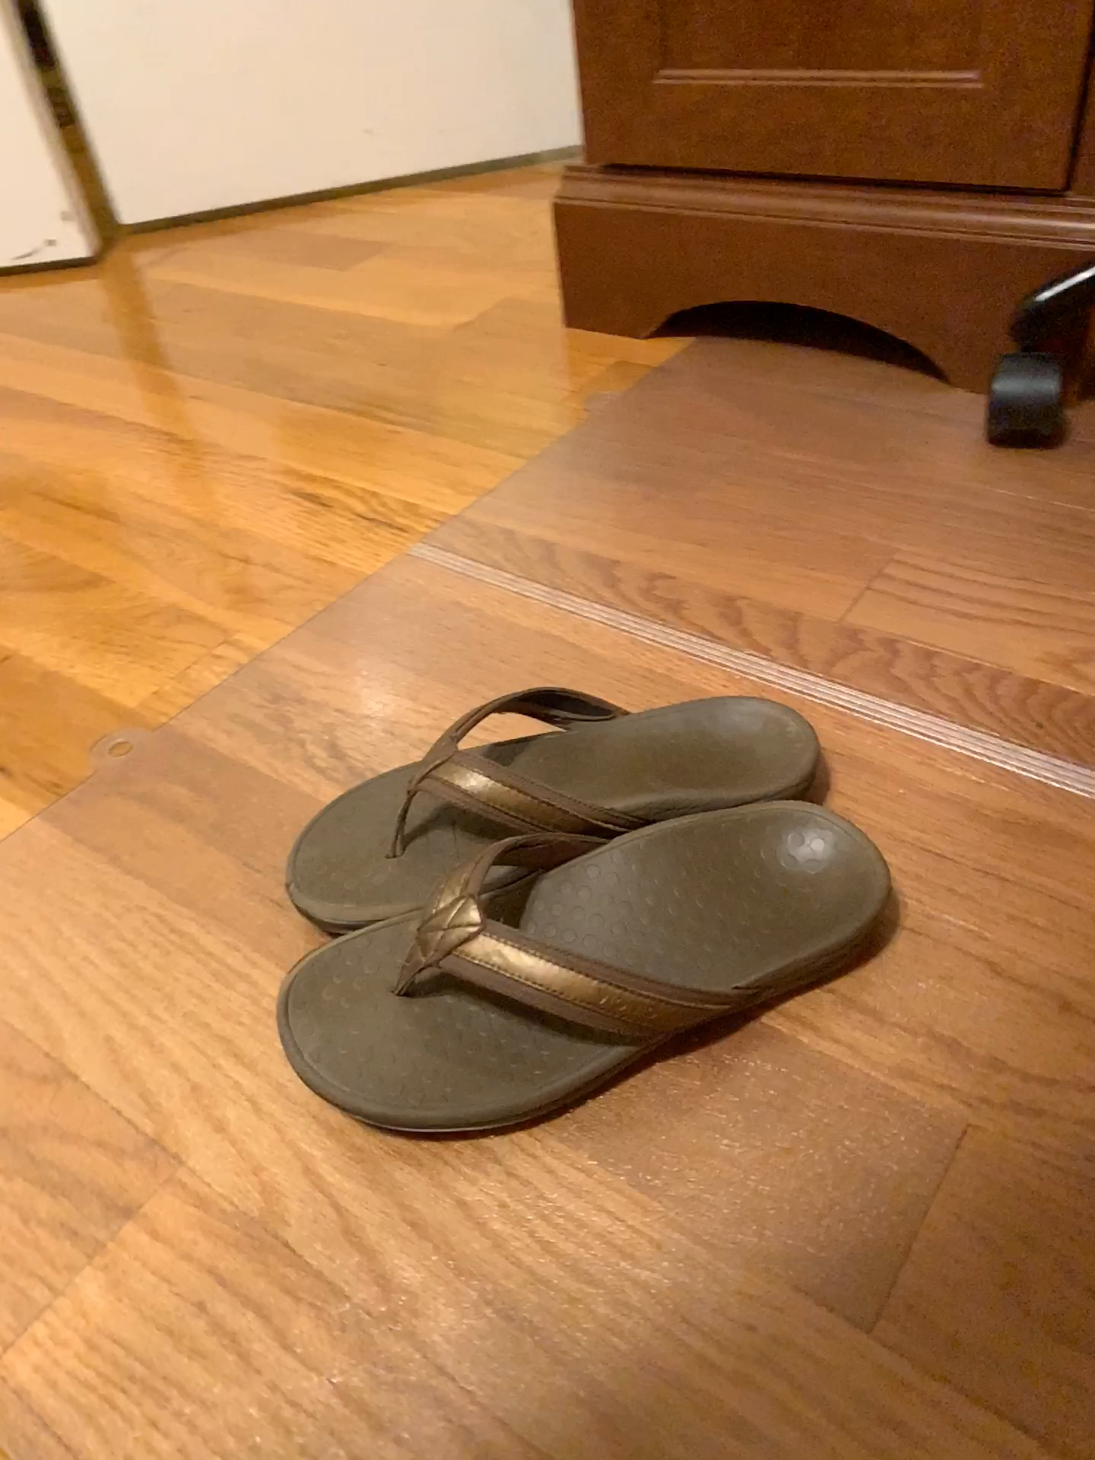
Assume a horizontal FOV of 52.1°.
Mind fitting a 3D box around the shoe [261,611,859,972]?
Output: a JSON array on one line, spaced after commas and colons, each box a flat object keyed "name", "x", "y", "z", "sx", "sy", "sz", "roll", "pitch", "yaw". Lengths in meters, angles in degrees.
[{"name": "shoe", "x": 0.004, "y": 0.022, "z": 0.511, "sx": 0.250, "sy": 0.049, "sz": 0.092, "roll": -16, "pitch": 41, "yaw": -8}]

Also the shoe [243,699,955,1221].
[{"name": "shoe", "x": 0.020, "y": 0.079, "z": 0.436, "sx": 0.246, "sy": 0.061, "sz": 0.100, "roll": -20, "pitch": 41, "yaw": -12}]
